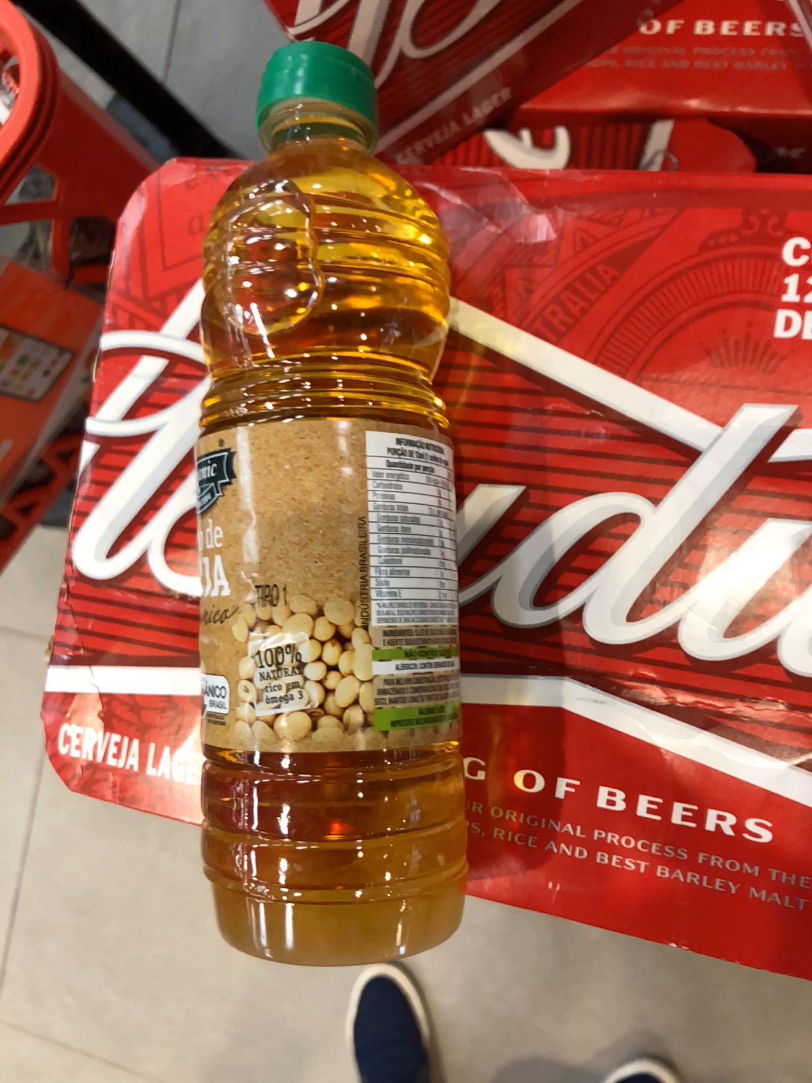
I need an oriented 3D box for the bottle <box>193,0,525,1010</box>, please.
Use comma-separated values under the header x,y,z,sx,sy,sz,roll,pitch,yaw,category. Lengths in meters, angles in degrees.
x,y,z,sx,sy,sz,roll,pitch,yaw,category
-0.016,-0.028,0.222,0.060,0.060,0.240,0,85,-21,bottle
